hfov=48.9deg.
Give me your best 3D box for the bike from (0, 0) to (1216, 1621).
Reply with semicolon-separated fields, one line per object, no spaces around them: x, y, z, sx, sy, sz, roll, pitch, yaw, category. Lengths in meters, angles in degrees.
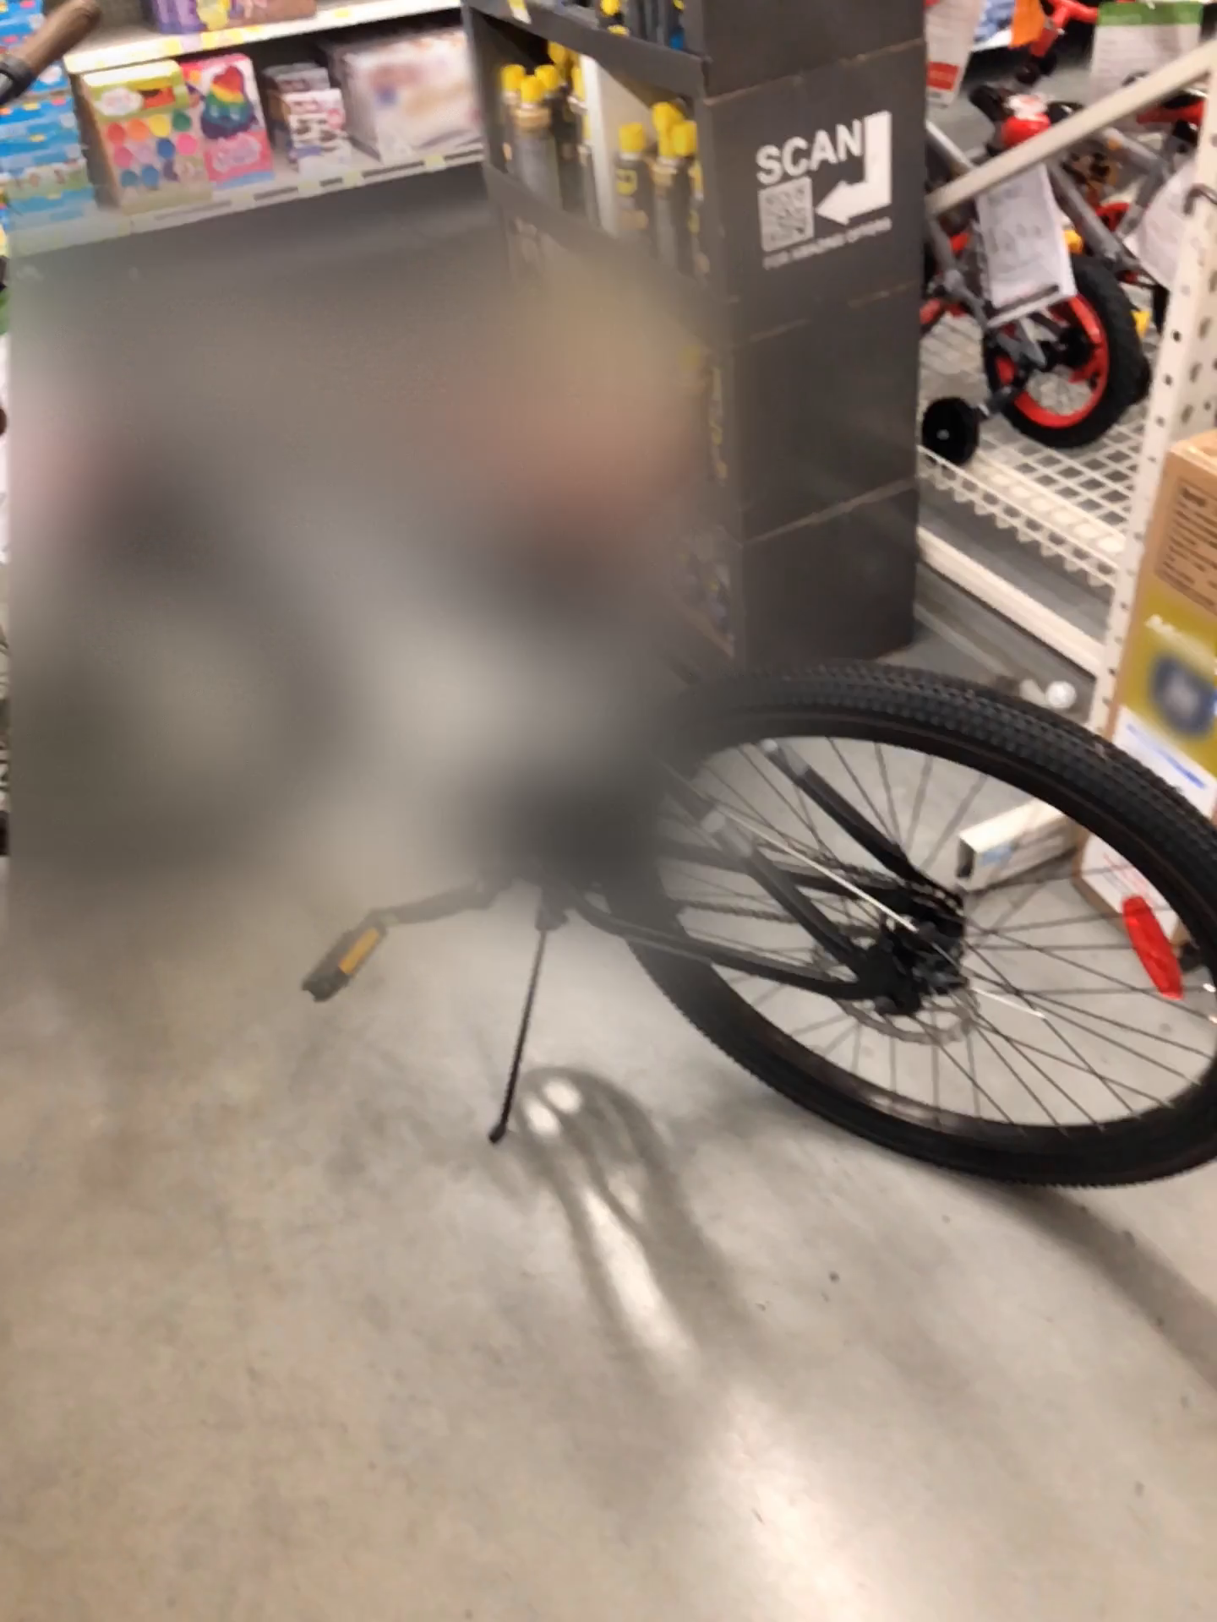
-0.246;-0.126;1.129;1.584;0.975;0.655;15;45;16;bike
